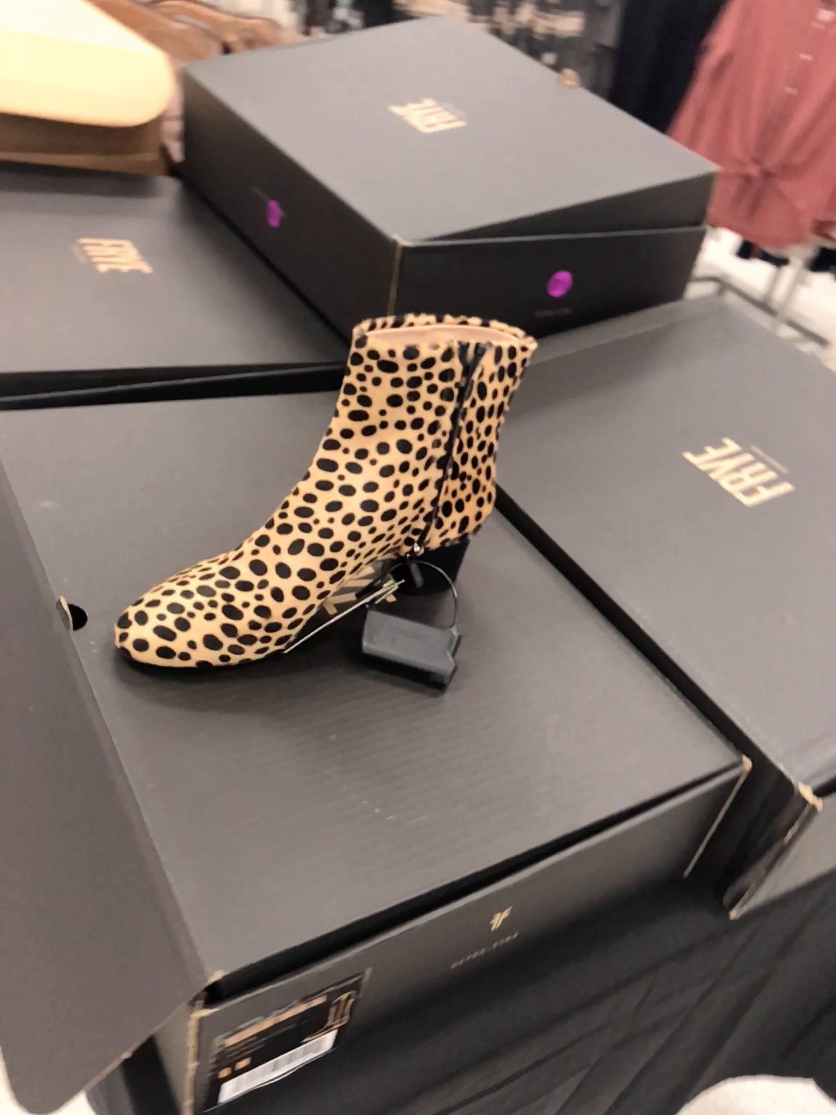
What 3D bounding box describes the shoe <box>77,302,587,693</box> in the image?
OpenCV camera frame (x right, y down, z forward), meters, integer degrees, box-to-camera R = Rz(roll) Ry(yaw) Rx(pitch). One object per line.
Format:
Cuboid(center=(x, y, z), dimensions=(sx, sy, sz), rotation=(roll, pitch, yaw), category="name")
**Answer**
Cuboid(center=(-0.050, -0.043, 0.525), dimensions=(0.249, 0.164, 0.093), rotation=(-12, 43, -29), category="shoe")
